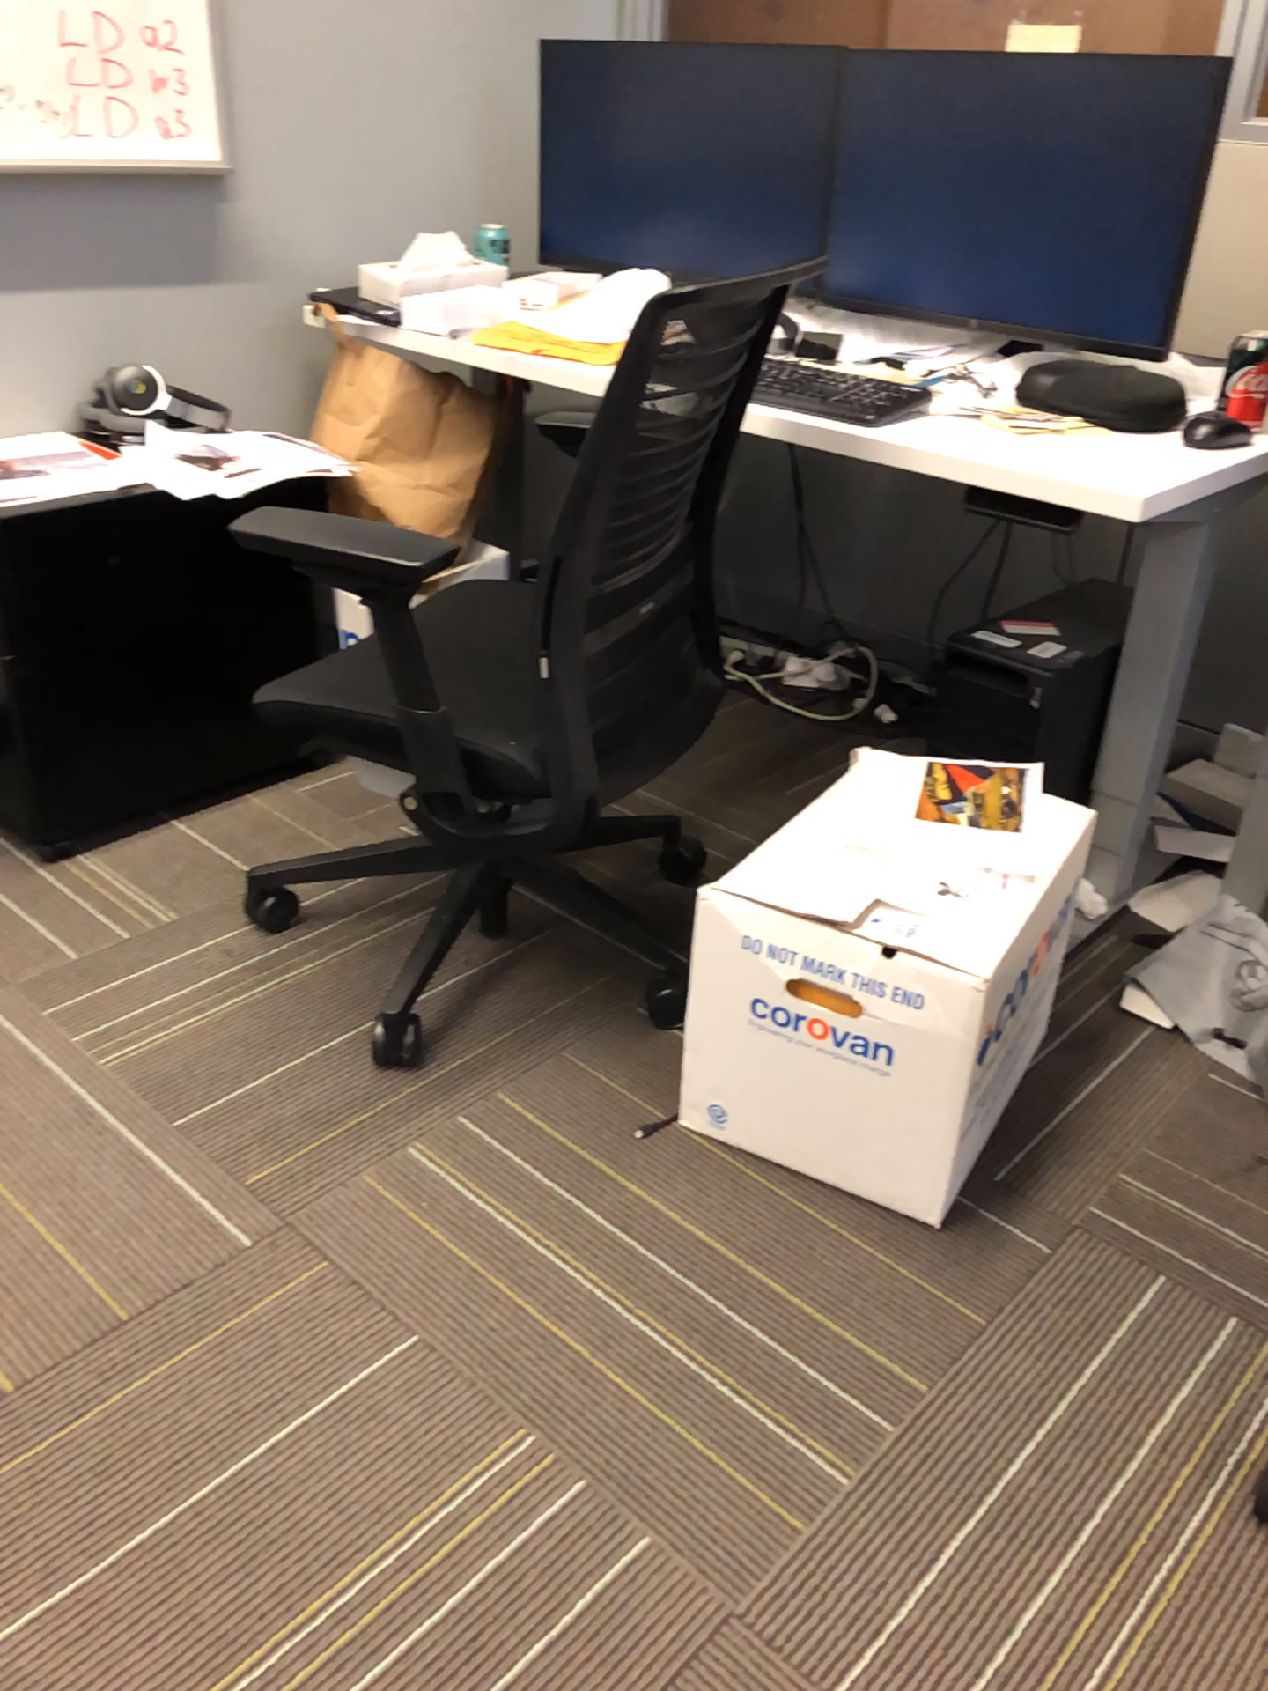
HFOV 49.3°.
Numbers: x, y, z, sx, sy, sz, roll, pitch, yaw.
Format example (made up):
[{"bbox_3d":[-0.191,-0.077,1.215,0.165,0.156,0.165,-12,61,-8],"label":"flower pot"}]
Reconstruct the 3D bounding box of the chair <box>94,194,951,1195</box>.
[{"bbox_3d":[-0.093,-0.273,1.830,0.701,0.994,0.784,14,30,20],"label":"chair"}]
